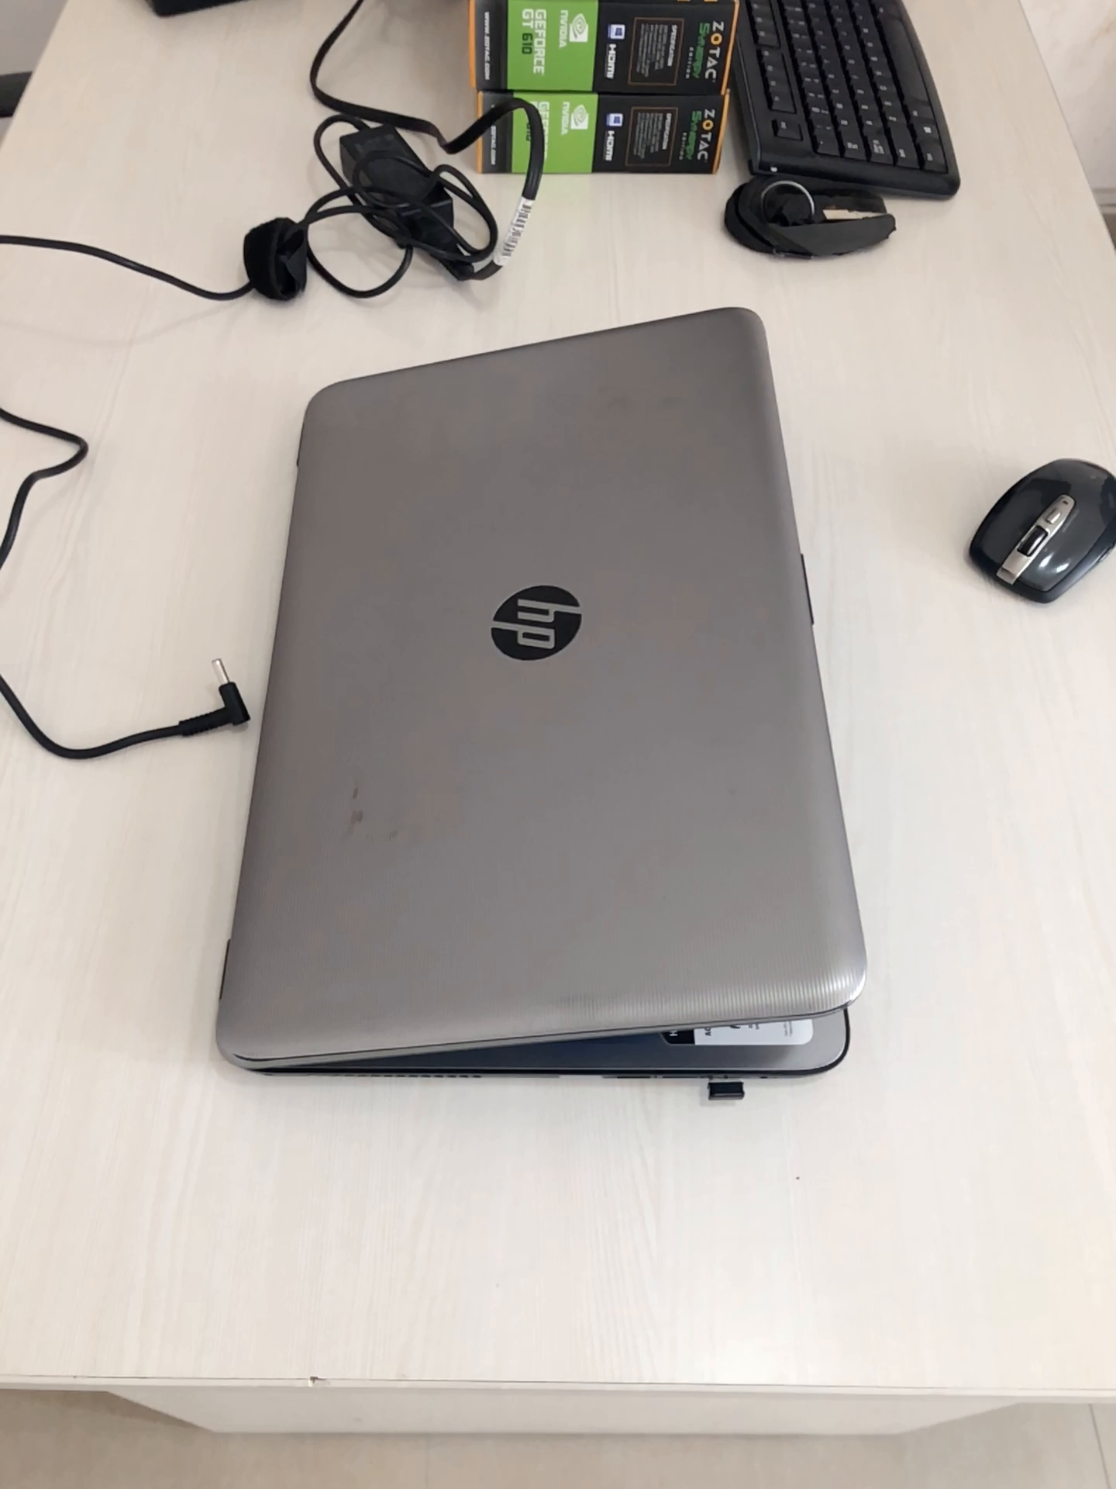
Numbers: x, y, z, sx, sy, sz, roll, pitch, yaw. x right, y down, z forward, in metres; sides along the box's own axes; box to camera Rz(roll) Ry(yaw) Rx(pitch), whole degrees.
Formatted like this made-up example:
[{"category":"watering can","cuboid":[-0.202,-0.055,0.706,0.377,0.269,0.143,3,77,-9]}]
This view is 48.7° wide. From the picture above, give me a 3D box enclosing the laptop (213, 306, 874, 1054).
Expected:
[{"category":"laptop","cuboid":[-0.006,-0.052,0.543,0.226,0.062,0.357,0,57,-2]}]
